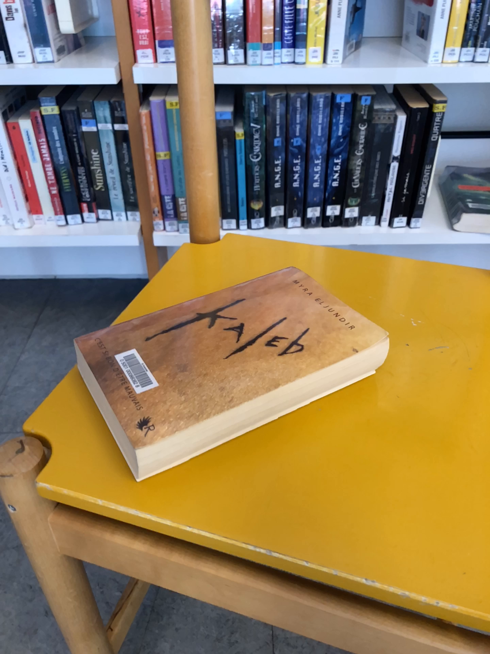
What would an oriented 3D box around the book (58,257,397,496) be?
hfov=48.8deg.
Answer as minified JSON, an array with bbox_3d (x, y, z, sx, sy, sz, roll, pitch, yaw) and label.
[{"bbox_3d":[-0.016,0.022,0.439,0.224,0.043,0.150,-19,40,-23],"label":"book"}]
